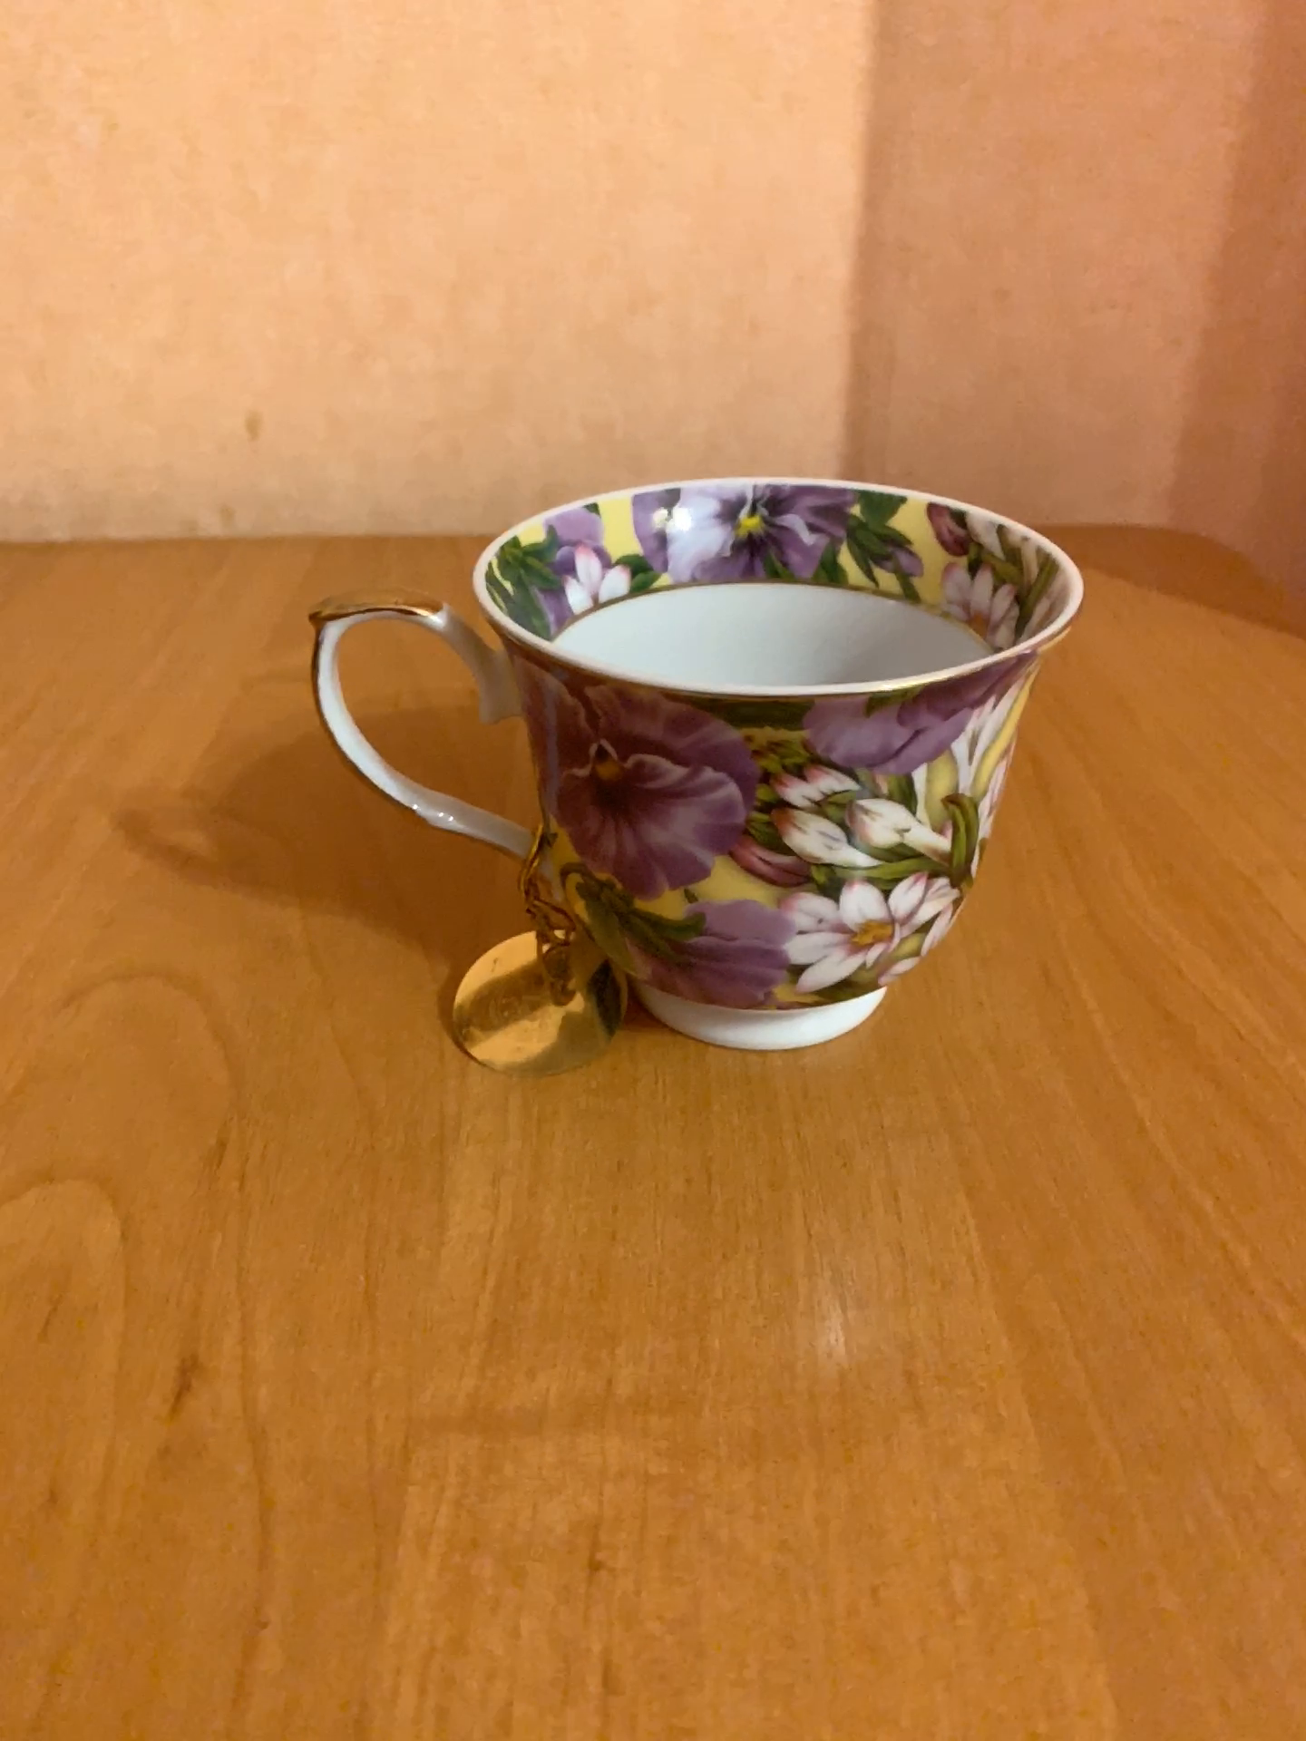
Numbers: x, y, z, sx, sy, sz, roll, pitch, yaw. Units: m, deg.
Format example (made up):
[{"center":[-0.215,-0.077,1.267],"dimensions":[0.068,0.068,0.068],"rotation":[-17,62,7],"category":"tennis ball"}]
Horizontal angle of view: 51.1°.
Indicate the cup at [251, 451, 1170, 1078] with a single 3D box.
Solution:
[{"center":[0.008,-0.020,0.212],"dimensions":[0.108,0.069,0.077],"rotation":[0,31,1],"category":"cup"}]
